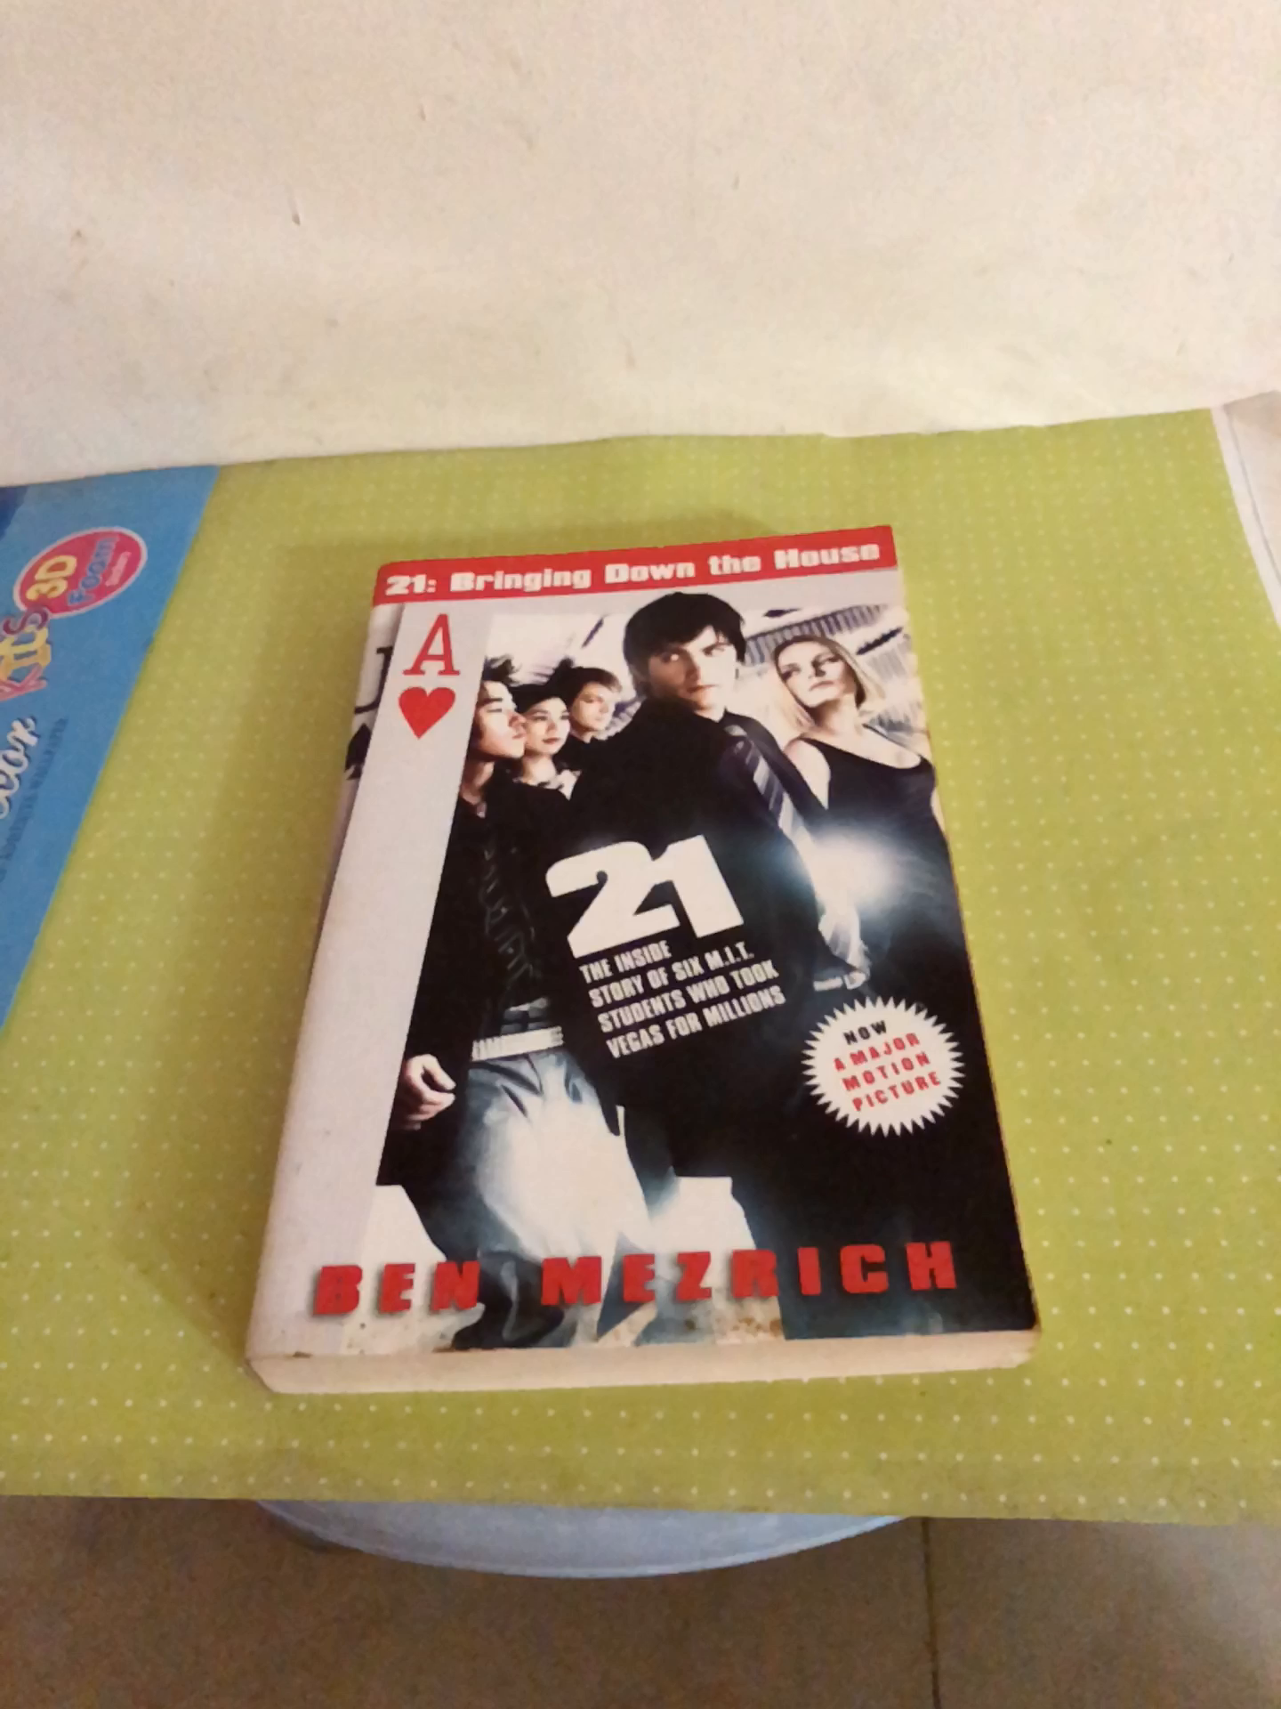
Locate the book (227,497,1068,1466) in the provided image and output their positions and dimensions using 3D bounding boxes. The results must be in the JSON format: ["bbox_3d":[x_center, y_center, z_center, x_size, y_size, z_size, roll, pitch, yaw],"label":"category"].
[{"bbox_3d":[0.000,0.011,0.303,0.130,0.040,0.211,-3,51,3],"label":"book"}]
